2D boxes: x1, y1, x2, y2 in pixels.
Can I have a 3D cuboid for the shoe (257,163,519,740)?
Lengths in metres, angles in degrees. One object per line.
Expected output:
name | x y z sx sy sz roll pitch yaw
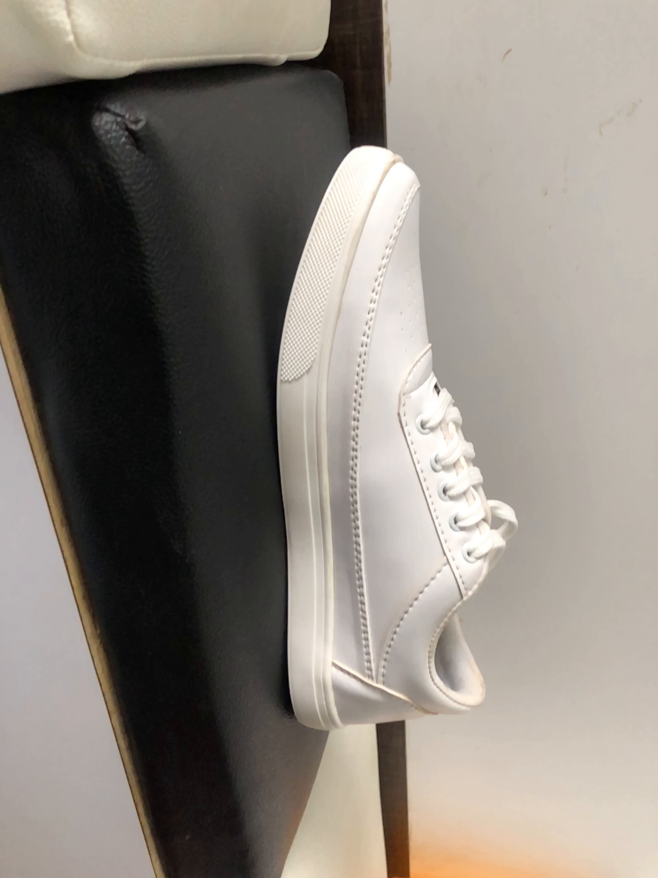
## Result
shoe | 0.043 0.001 0.413 0.130 0.110 0.290 -58 148 -66
